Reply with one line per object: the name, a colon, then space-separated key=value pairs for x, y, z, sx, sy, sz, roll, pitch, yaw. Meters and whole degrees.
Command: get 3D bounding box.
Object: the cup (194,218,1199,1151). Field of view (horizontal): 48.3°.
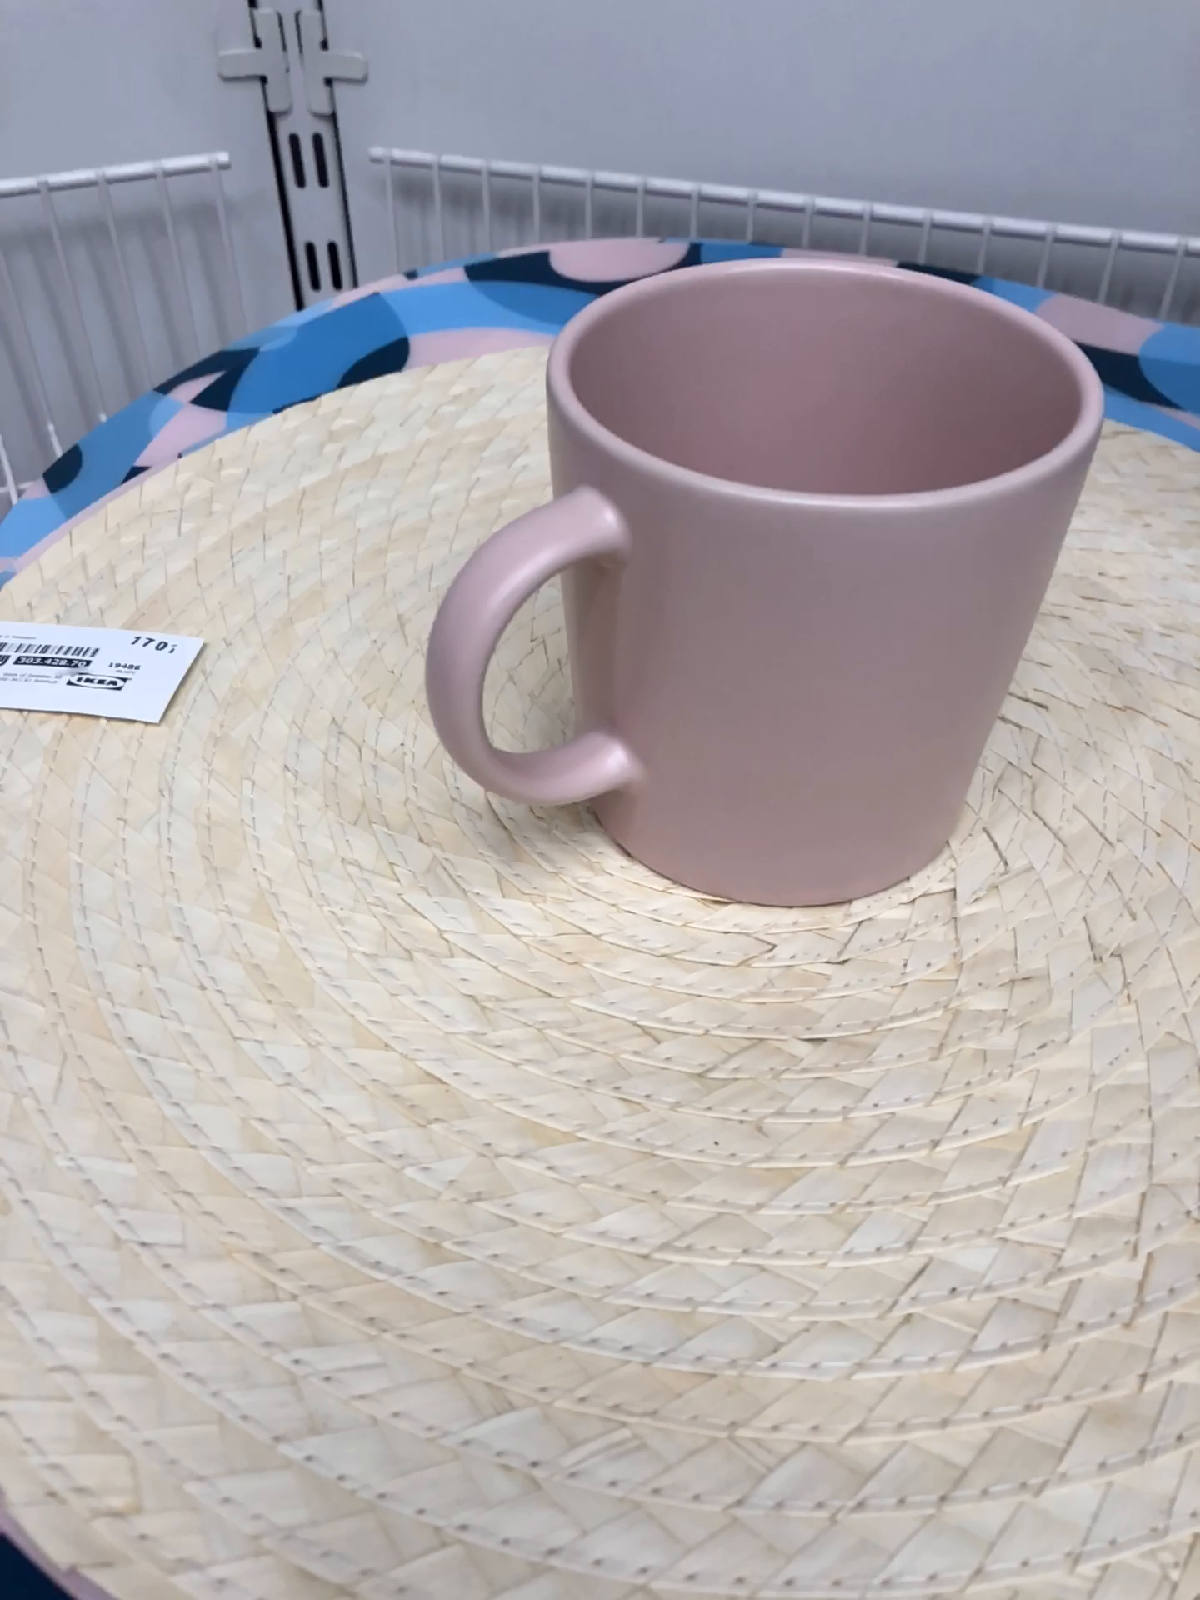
cup: x=0.019 y=-0.032 z=0.241 sx=0.130 sy=0.090 sz=0.100 roll=-30 pitch=48 yaw=-30
